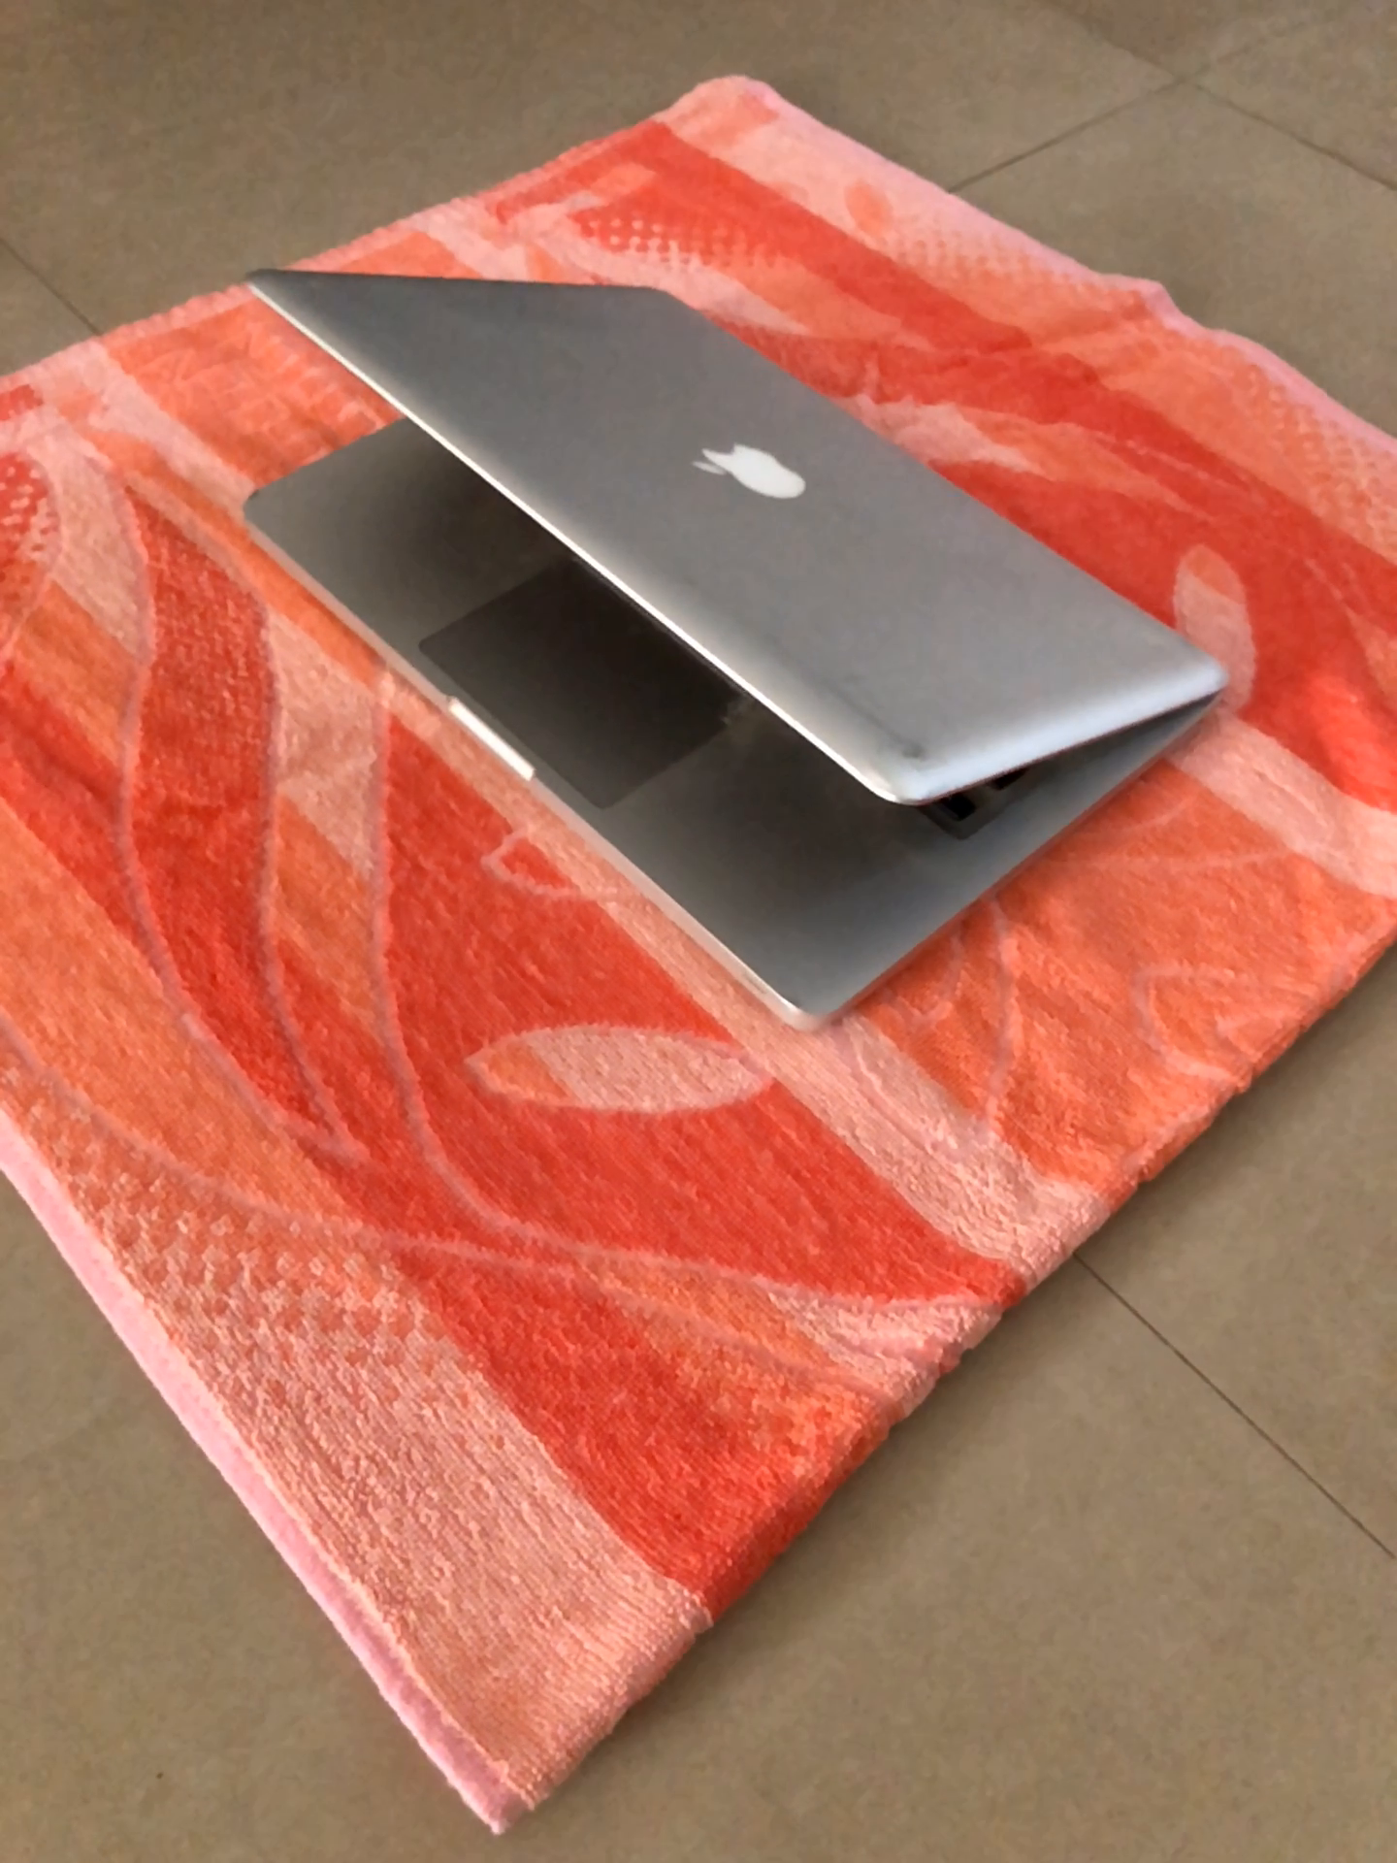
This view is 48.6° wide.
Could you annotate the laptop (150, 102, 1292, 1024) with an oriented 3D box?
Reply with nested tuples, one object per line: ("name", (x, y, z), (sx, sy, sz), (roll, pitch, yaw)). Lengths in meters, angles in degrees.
("laptop", (0.003, -0.151, 0.545), (0.224, 0.086, 0.310), (-37, 65, -27))
